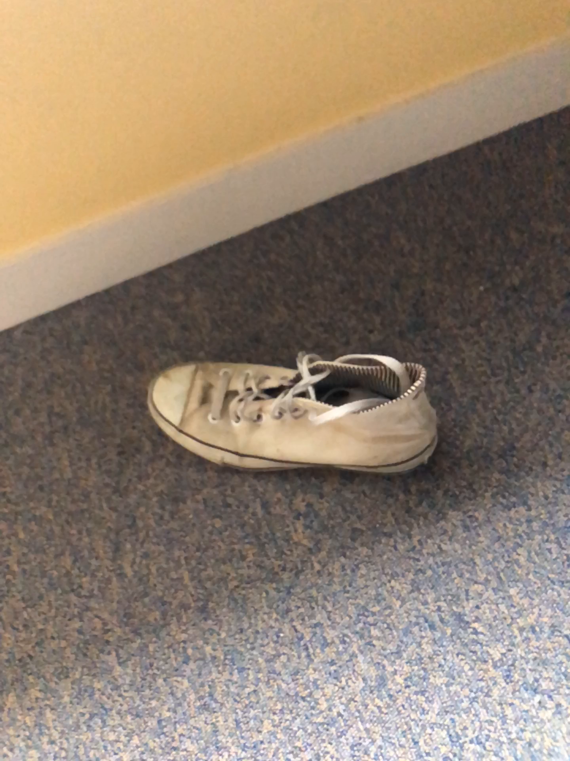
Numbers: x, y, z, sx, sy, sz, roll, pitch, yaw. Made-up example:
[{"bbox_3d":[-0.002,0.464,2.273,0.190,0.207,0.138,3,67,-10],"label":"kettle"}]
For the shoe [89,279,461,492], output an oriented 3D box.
[{"bbox_3d":[0.001,0.008,0.506,0.250,0.140,0.100,6,68,11],"label":"shoe"}]
